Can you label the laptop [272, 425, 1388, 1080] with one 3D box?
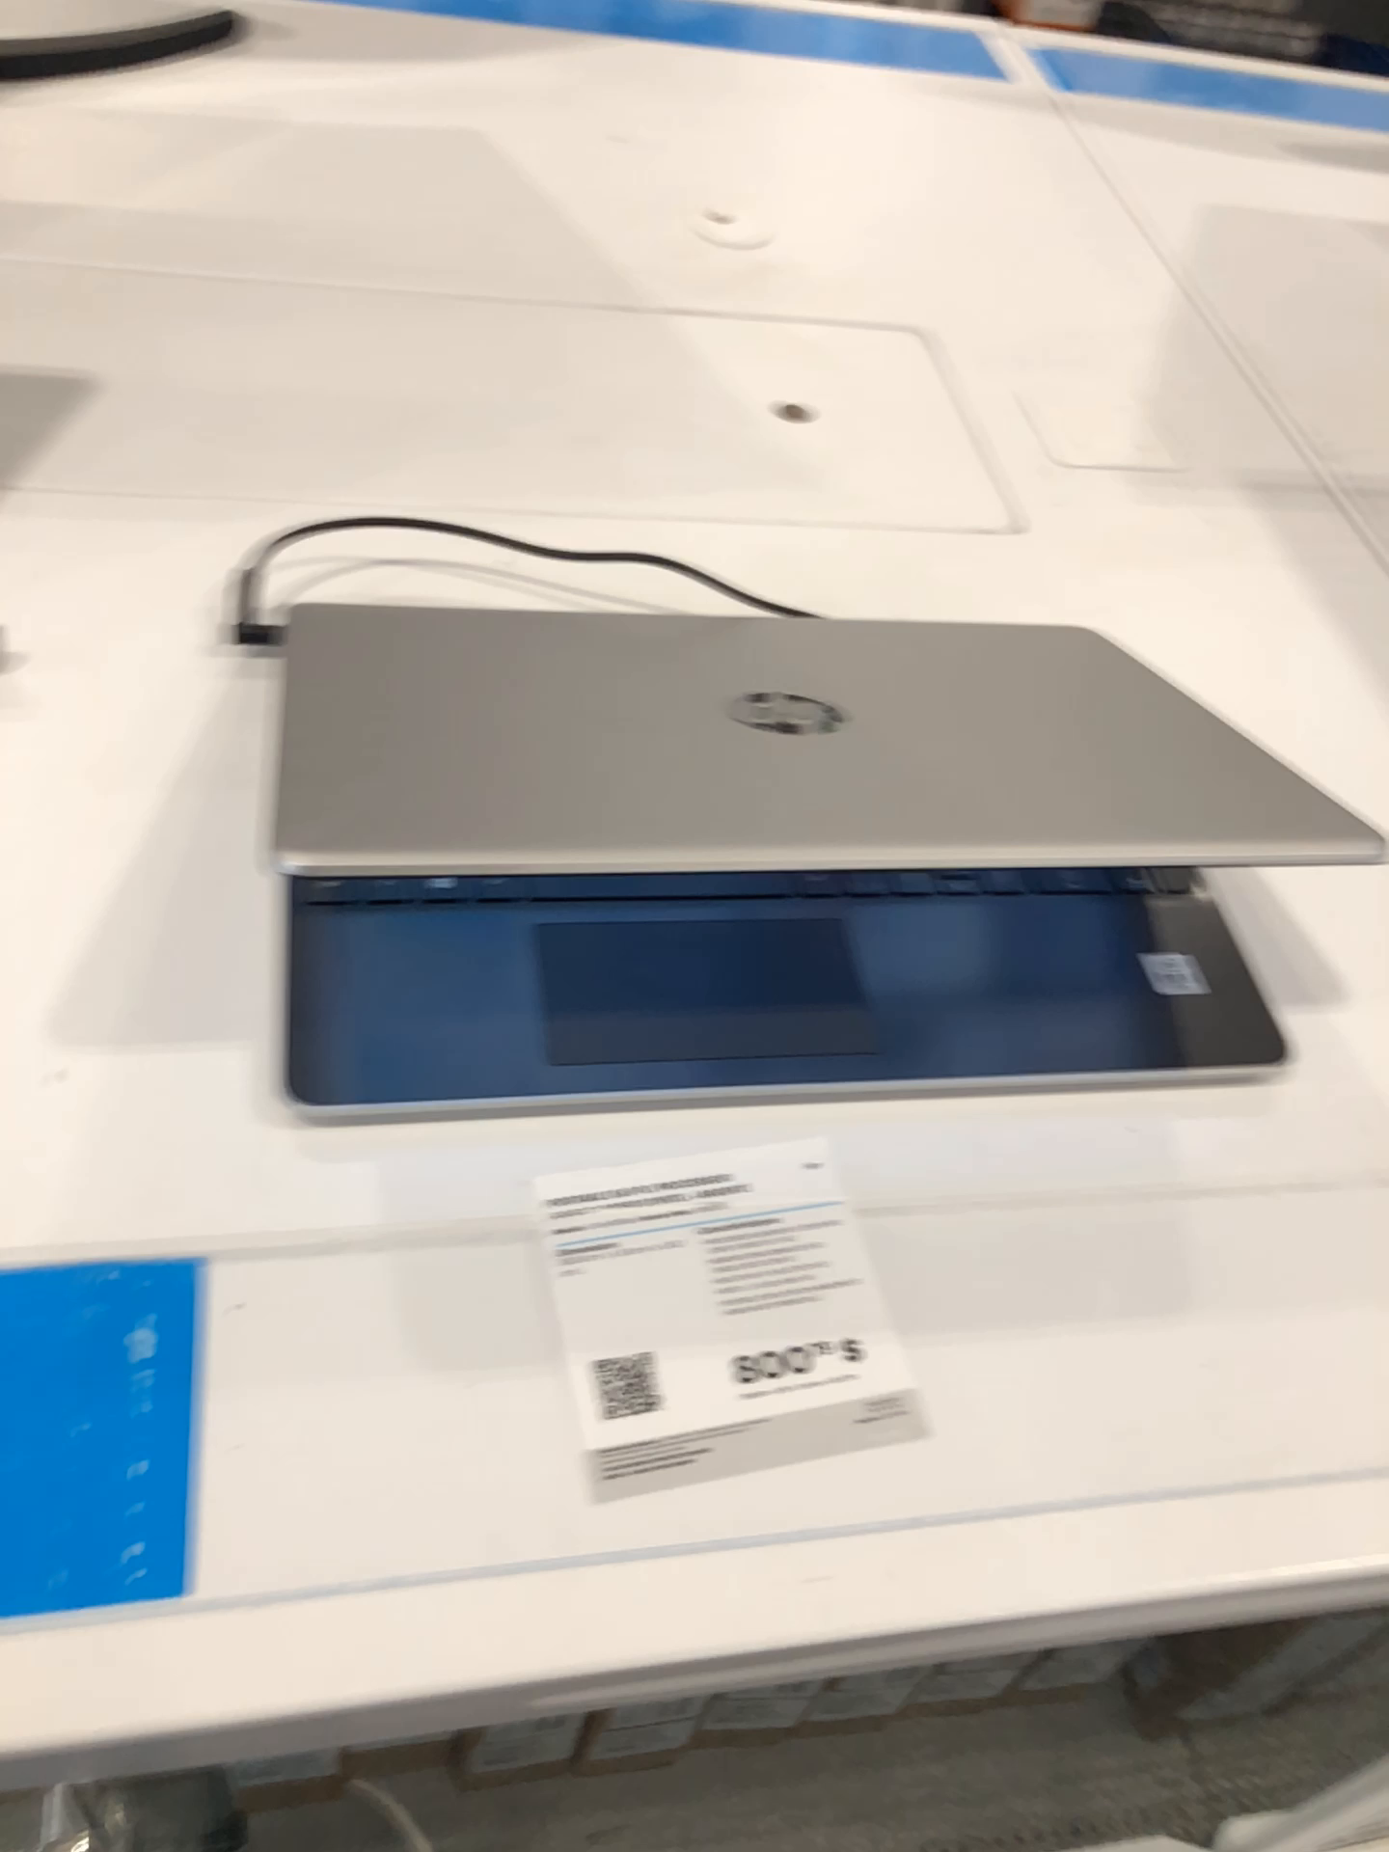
[{"bbox_3d":[0.031,-0.070,0.548,0.341,0.086,0.229,-1,49,-11],"label":"laptop"}]
